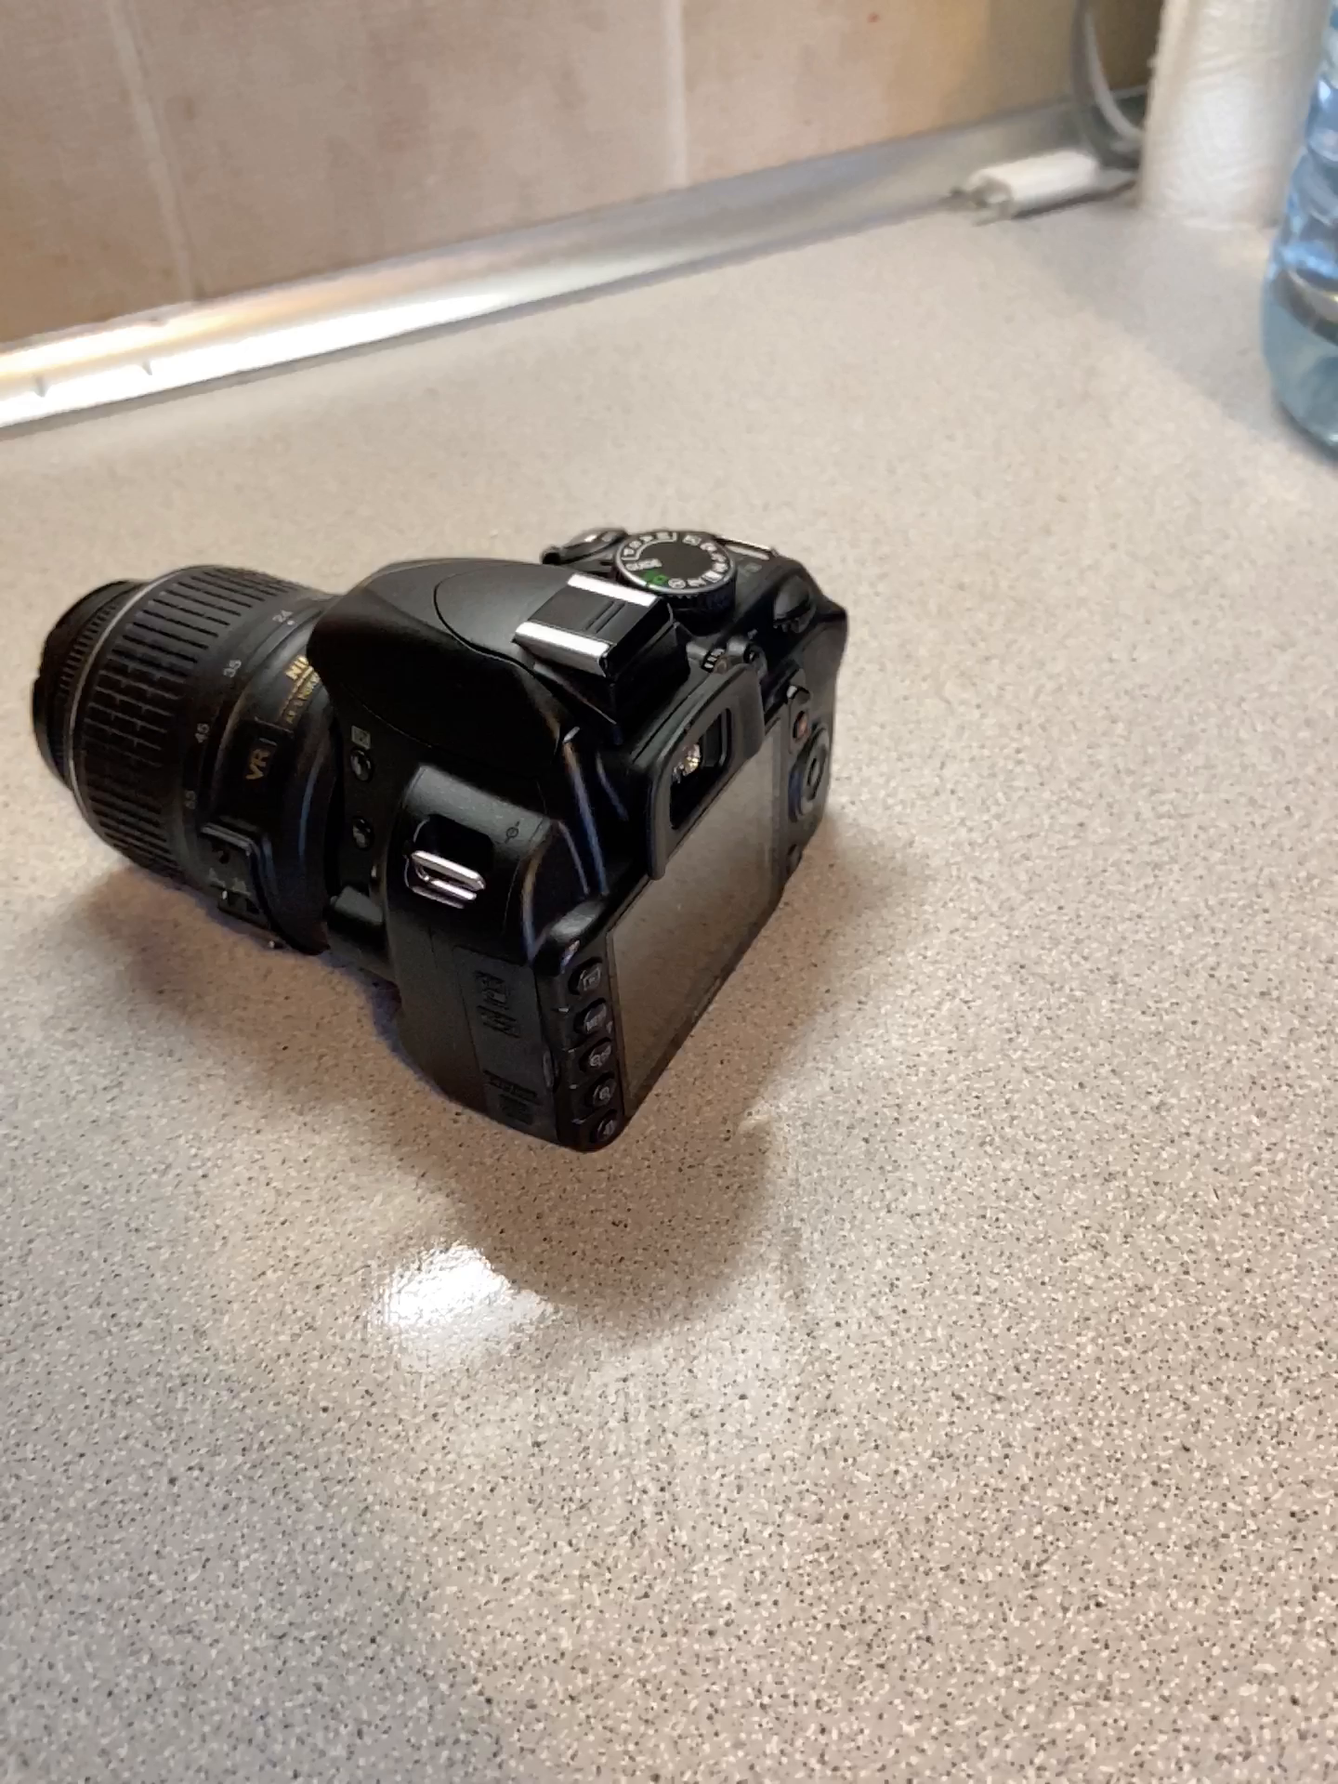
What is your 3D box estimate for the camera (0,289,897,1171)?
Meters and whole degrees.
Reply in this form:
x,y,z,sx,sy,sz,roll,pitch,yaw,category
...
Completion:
x,y,z,sx,sy,sz,roll,pitch,yaw,category
-0.061,-0.047,0.298,0.177,0.091,0.122,20,49,22,camera
